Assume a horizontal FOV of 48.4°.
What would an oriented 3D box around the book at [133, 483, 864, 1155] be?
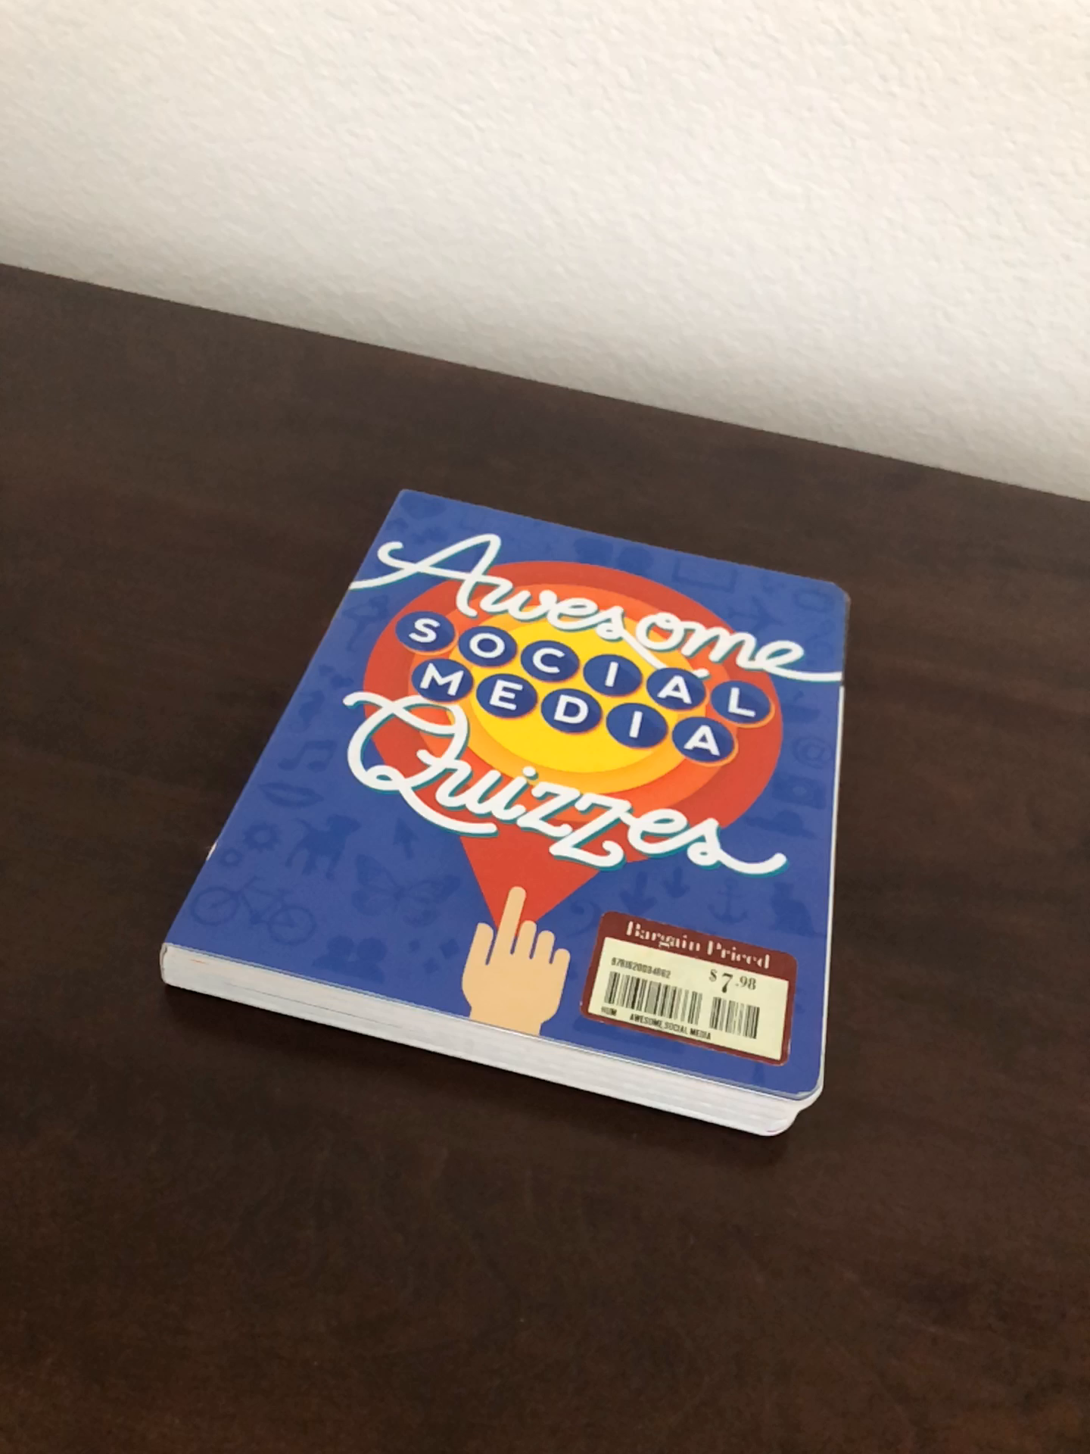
[{"bbox_3d":[0.005,0.008,0.363,0.172,0.020,0.202,13,46,4],"label":"book"}]
